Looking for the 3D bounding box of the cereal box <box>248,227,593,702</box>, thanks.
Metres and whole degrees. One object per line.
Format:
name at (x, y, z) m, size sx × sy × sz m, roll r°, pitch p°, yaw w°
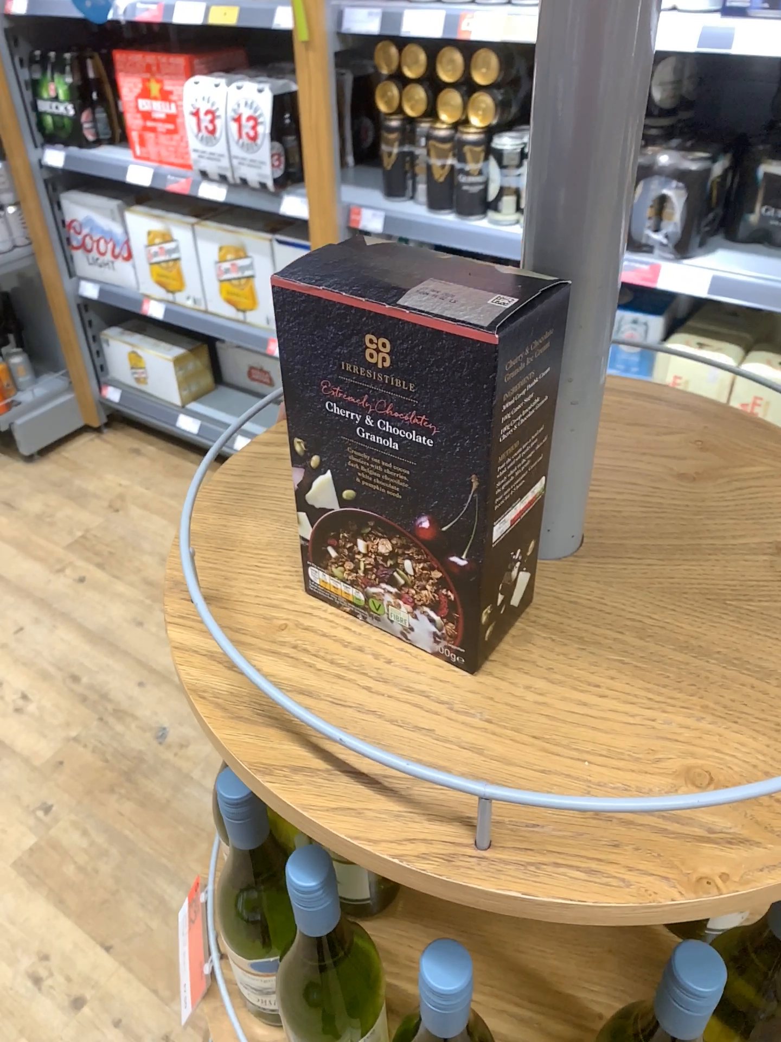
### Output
cereal box at (0.017, -0.031, 0.453) m, size 0.141 × 0.218 × 0.091 m, roll 22°, pitch 43°, yaw 28°
